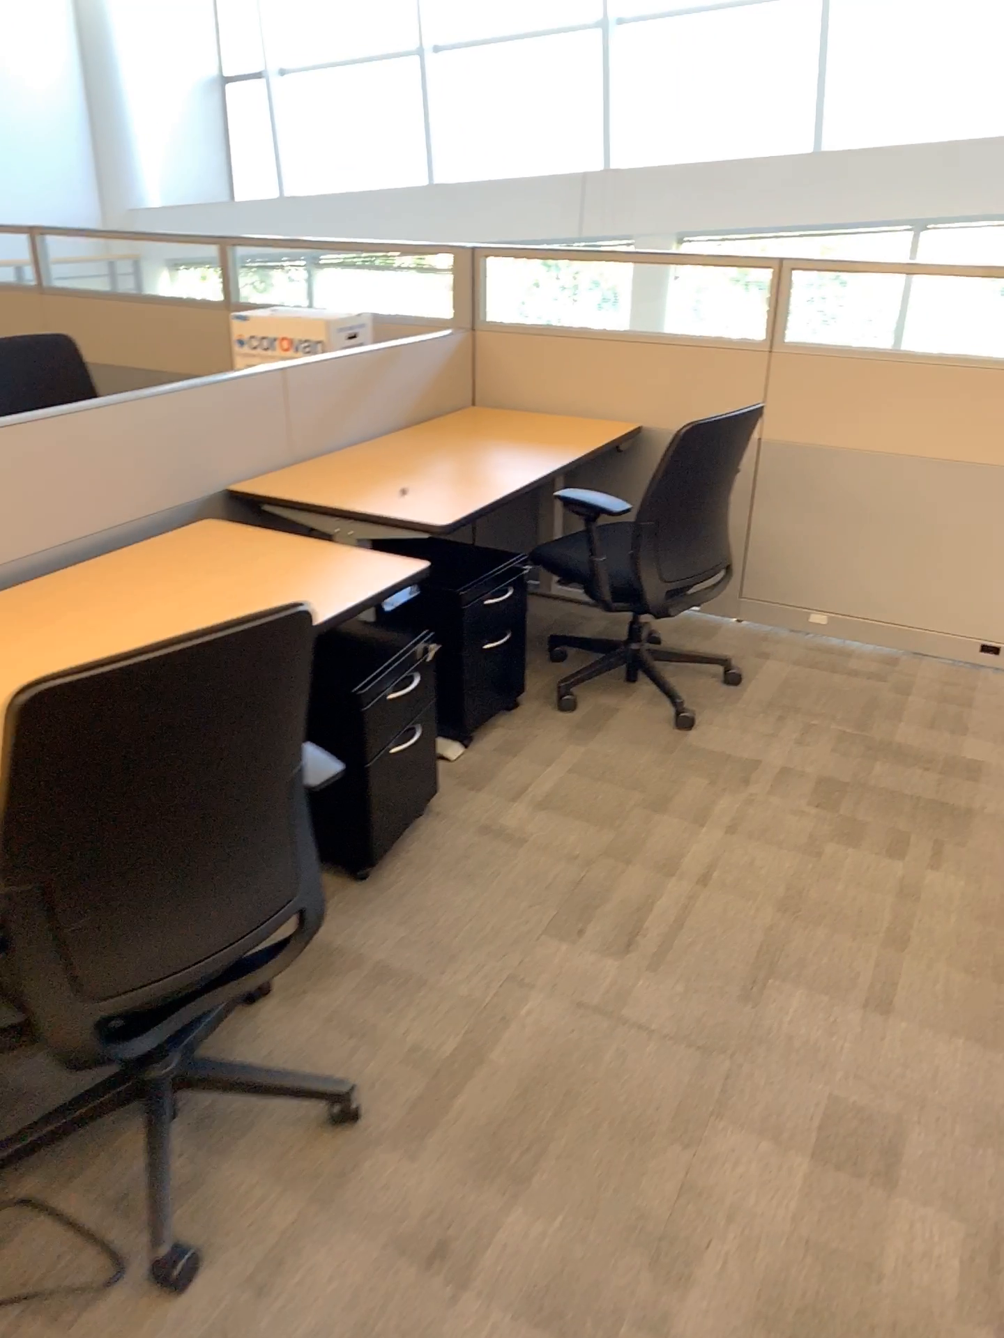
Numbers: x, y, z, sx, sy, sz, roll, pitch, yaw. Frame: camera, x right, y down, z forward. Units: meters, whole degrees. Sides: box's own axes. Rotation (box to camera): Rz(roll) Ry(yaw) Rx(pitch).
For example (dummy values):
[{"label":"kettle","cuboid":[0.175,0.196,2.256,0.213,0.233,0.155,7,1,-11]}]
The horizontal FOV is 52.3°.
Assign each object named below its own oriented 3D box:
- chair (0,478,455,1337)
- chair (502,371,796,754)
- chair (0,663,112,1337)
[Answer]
[{"label":"chair","cuboid":[-0.612,0.386,1.777,0.751,1.183,0.764,-17,30,-34]},{"label":"chair","cuboid":[0.538,-0.467,4.056,0.751,1.233,0.764,-17,30,-34]},{"label":"chair","cuboid":[-1.073,0.756,1.139,0.763,1.183,0.752,18,30,34]}]
